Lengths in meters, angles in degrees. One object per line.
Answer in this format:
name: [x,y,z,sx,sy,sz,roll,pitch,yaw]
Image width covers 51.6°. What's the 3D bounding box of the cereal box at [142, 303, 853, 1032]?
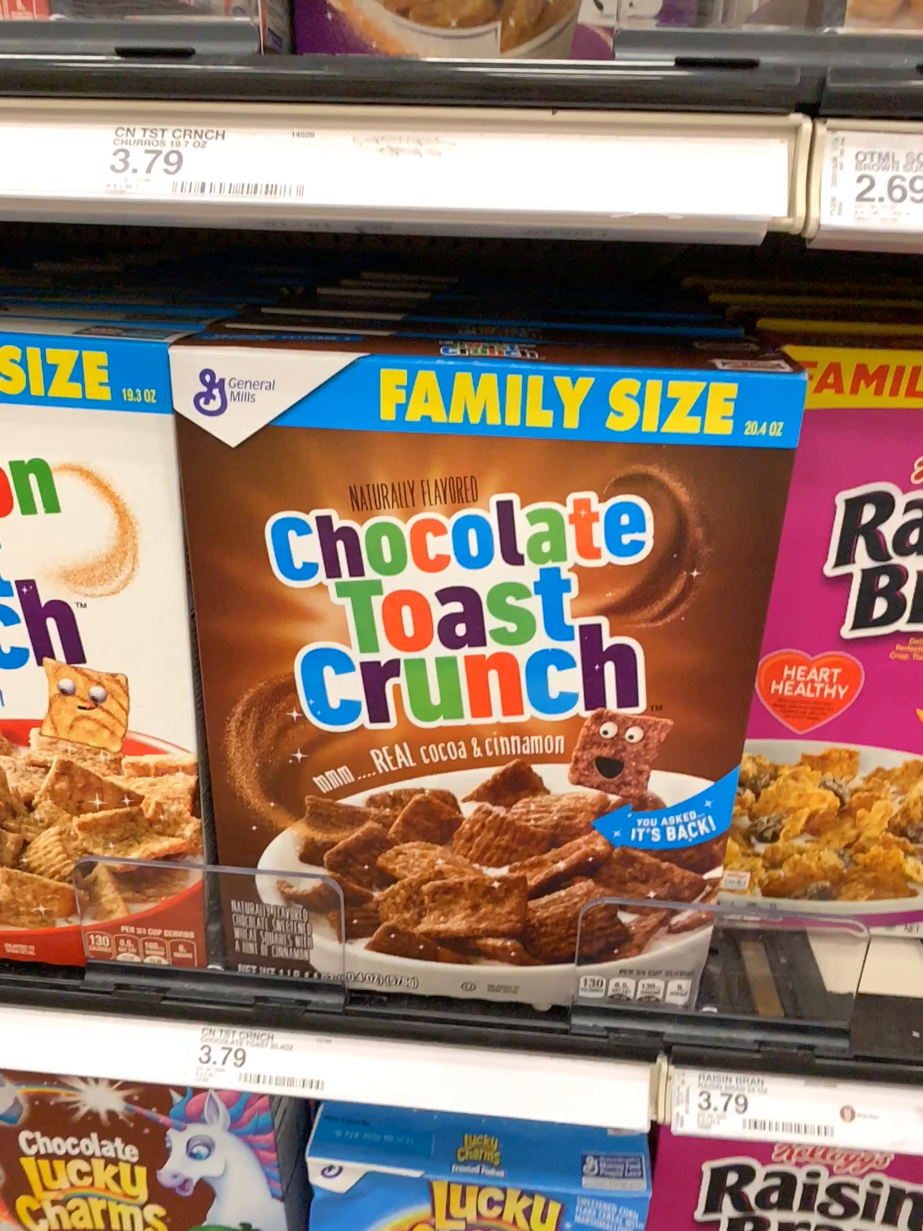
cereal box: [0.008,0.034,0.413,0.240,0.308,0.060,3,24,3]
